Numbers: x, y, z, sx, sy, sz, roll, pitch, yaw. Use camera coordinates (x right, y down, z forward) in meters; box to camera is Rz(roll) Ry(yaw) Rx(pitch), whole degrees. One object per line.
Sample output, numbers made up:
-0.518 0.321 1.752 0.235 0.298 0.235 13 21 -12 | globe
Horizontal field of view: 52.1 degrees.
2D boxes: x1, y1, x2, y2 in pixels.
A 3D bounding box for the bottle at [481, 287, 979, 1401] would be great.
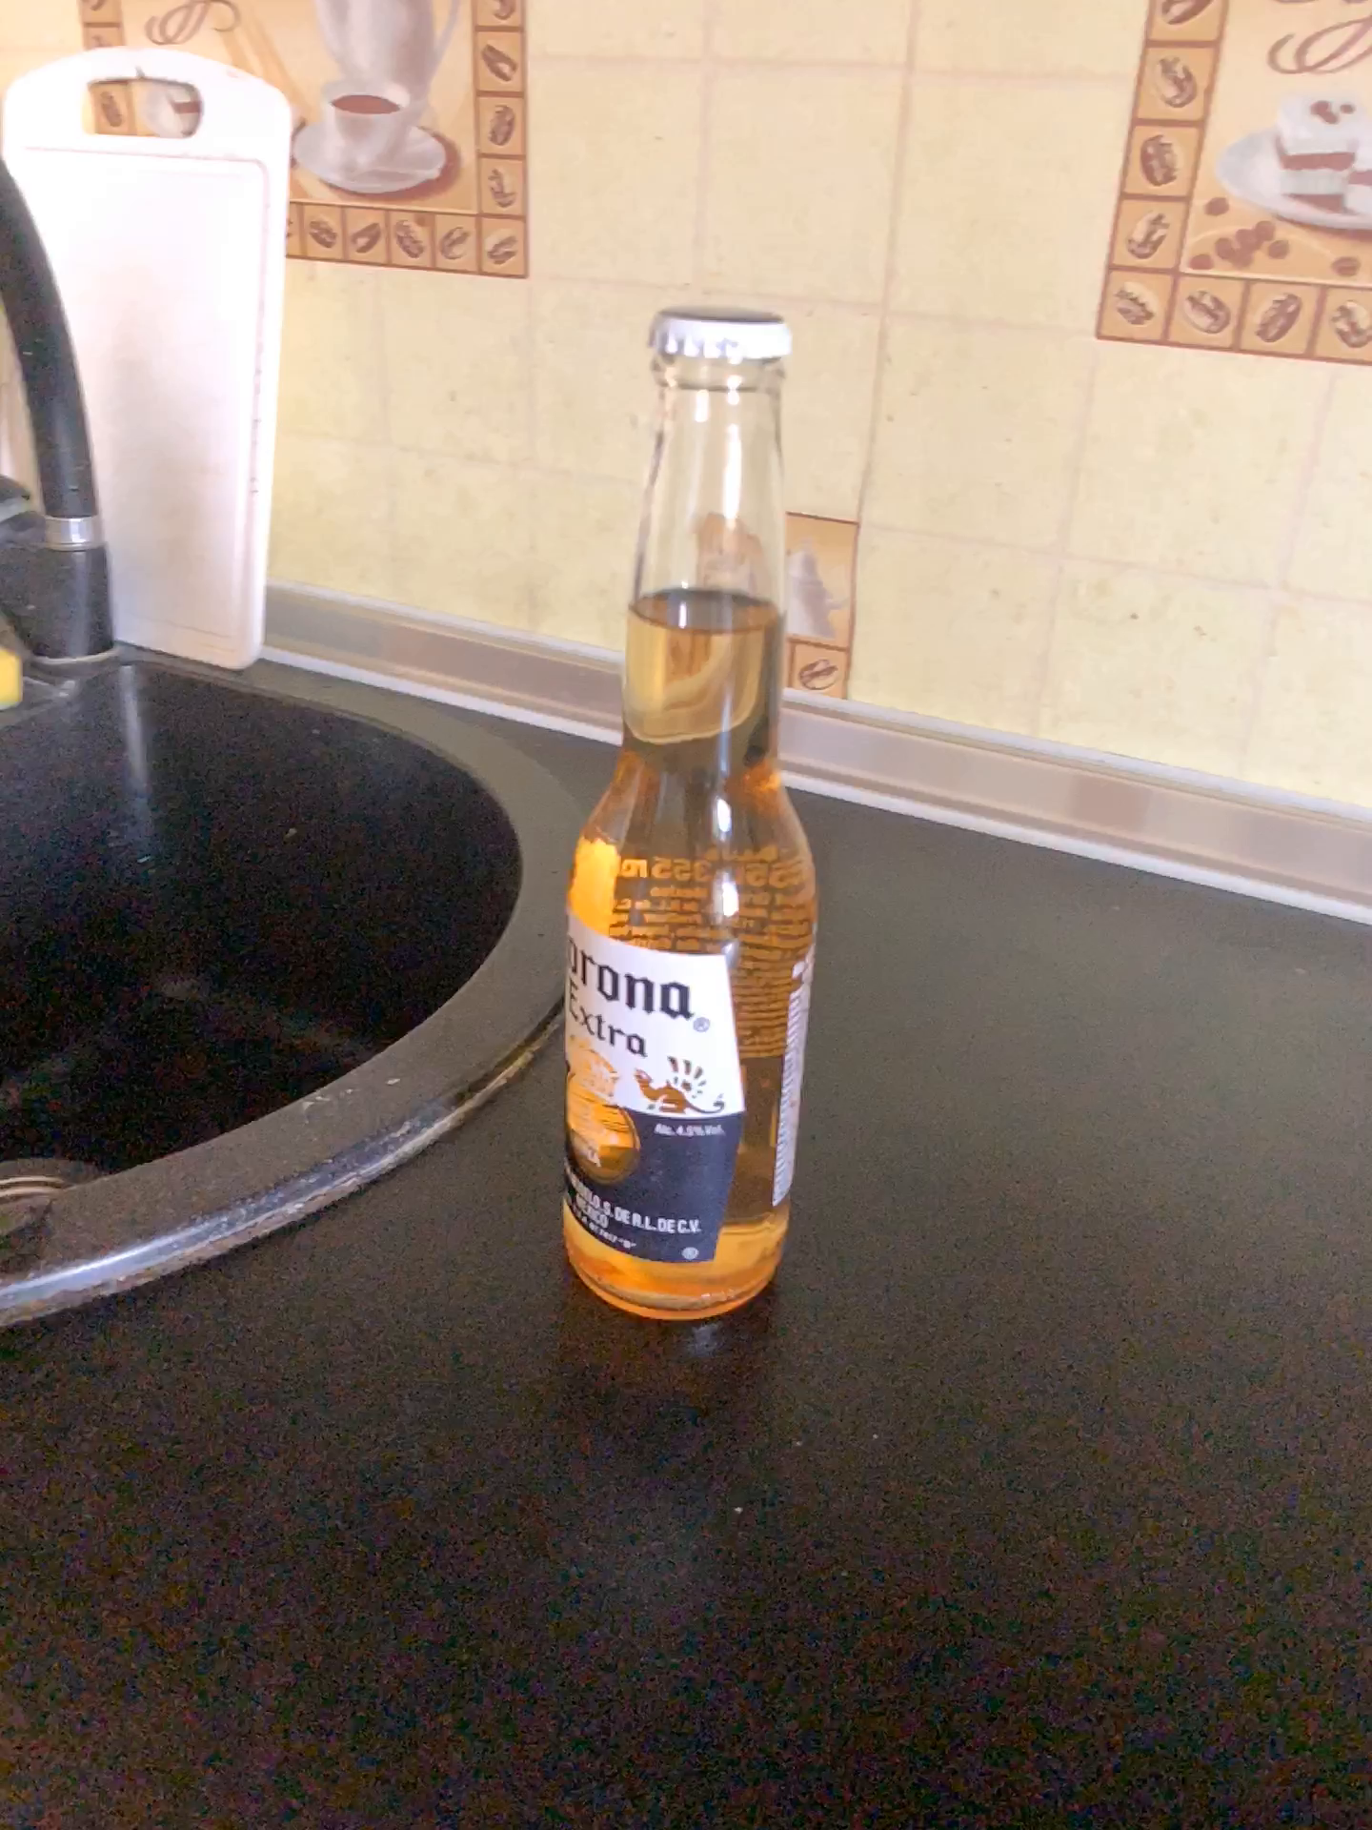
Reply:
0.004 -0.011 0.338 0.070 0.249 0.070 2 28 -1 | bottle
